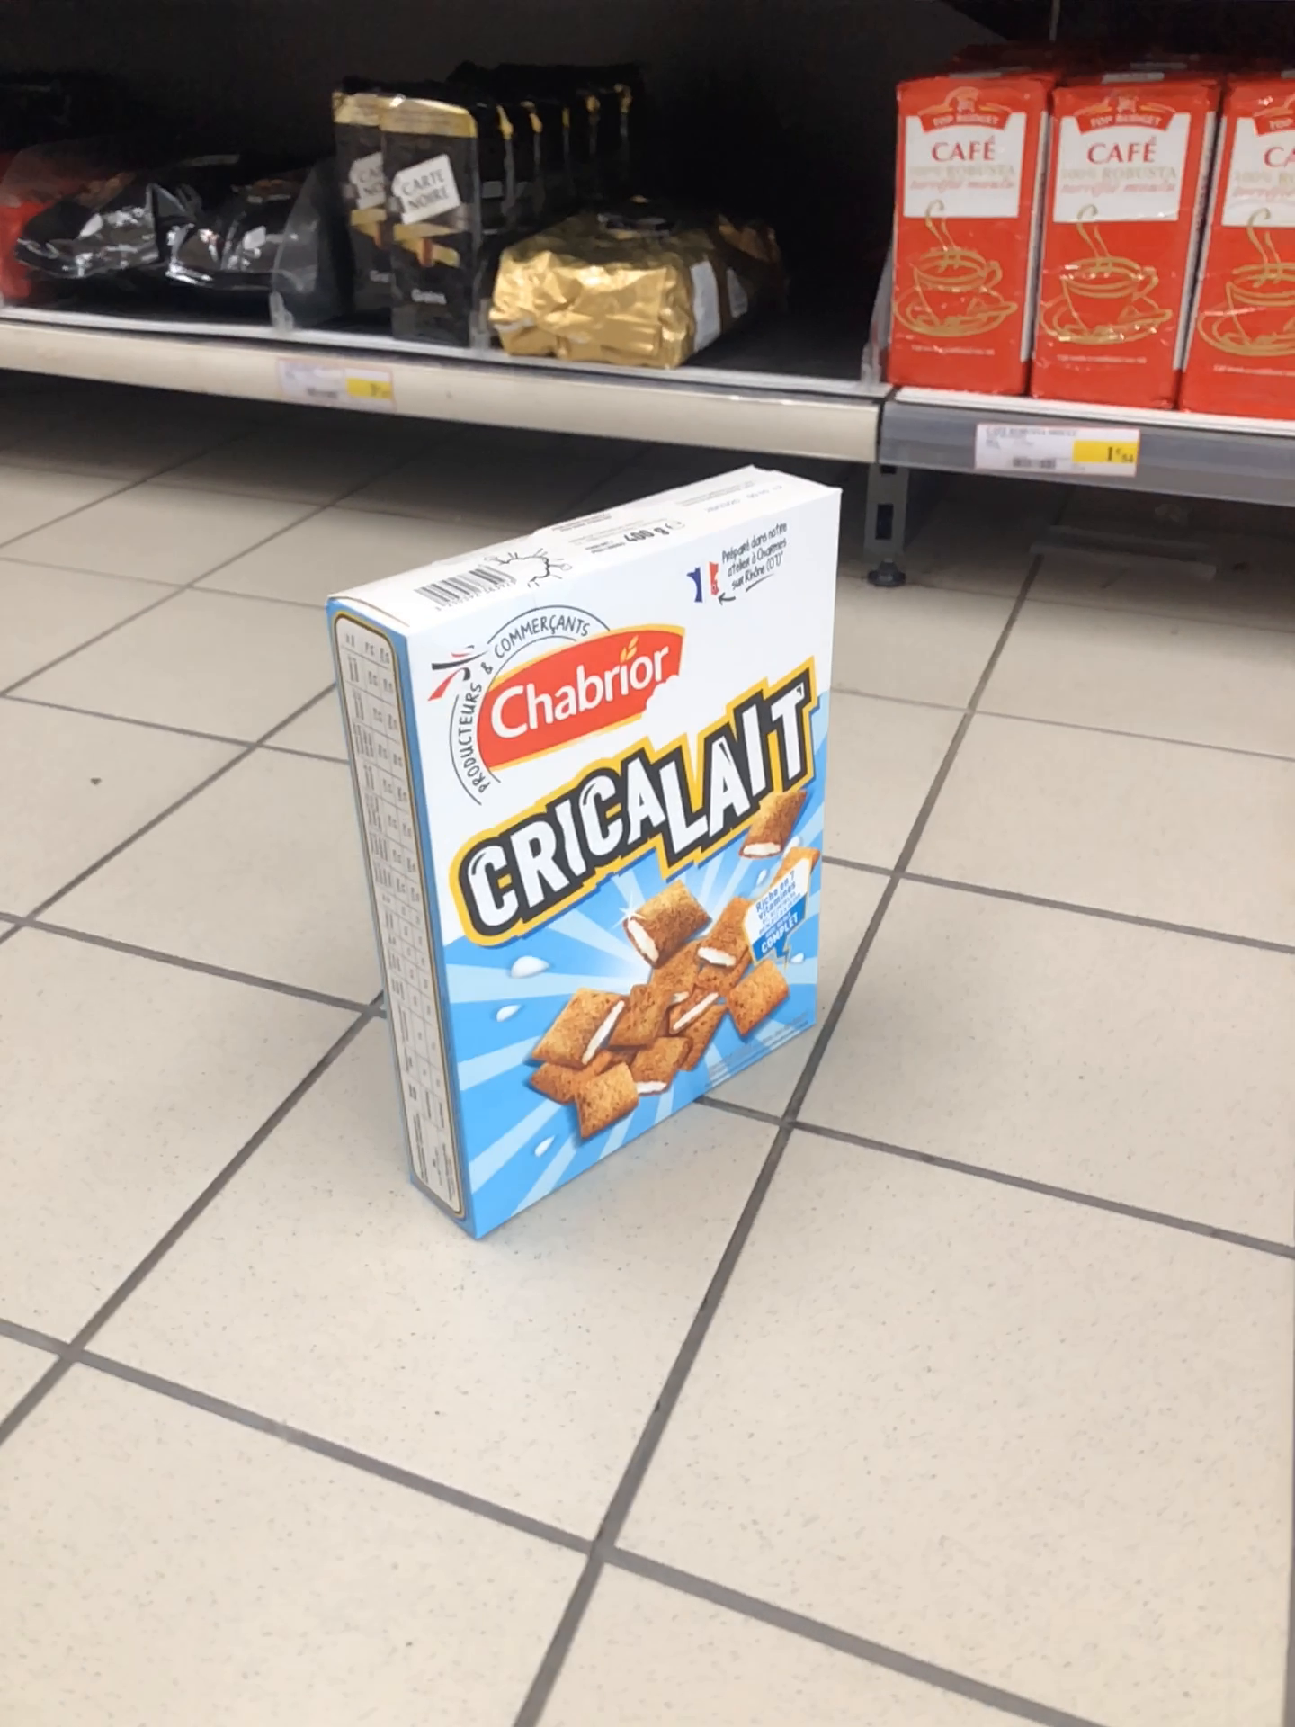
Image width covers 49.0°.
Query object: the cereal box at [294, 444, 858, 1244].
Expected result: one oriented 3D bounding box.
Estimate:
[{"bbox_3d":[-0.013,-0.009,0.539,0.201,0.249,0.050,-26,39,-33],"label":"cereal box"}]
